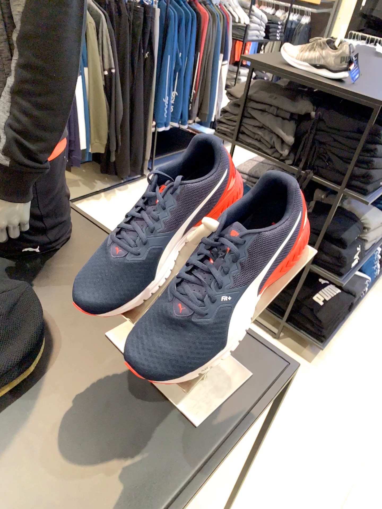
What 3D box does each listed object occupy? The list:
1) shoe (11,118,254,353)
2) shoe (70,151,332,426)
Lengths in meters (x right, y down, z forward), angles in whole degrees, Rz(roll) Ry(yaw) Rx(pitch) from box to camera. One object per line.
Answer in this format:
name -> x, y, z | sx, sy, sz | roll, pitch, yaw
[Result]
shoe -> -0.049, -0.031, 0.431 | 0.100, 0.079, 0.251 | 34, 68, 28
shoe -> 0.024, 0.026, 0.406 | 0.100, 0.099, 0.261 | 34, 68, 28
